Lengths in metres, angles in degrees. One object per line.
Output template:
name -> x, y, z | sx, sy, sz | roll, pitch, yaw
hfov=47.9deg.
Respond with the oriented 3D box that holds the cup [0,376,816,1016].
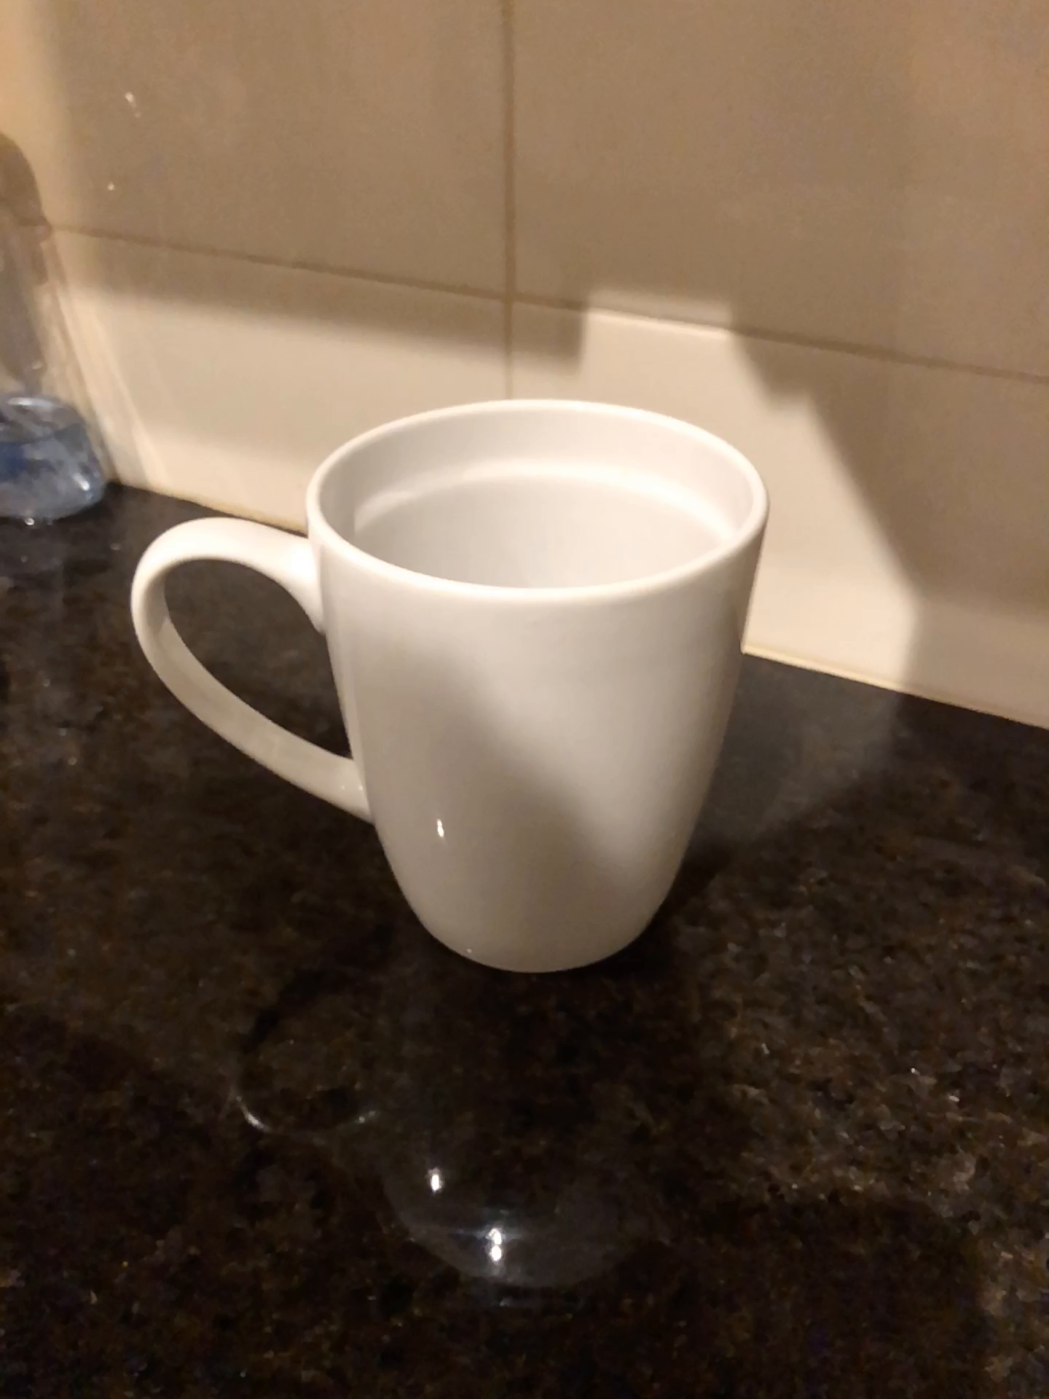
cup -> -0.016, -0.006, 0.246 | 0.130, 0.090, 0.090 | 4, 34, 5
